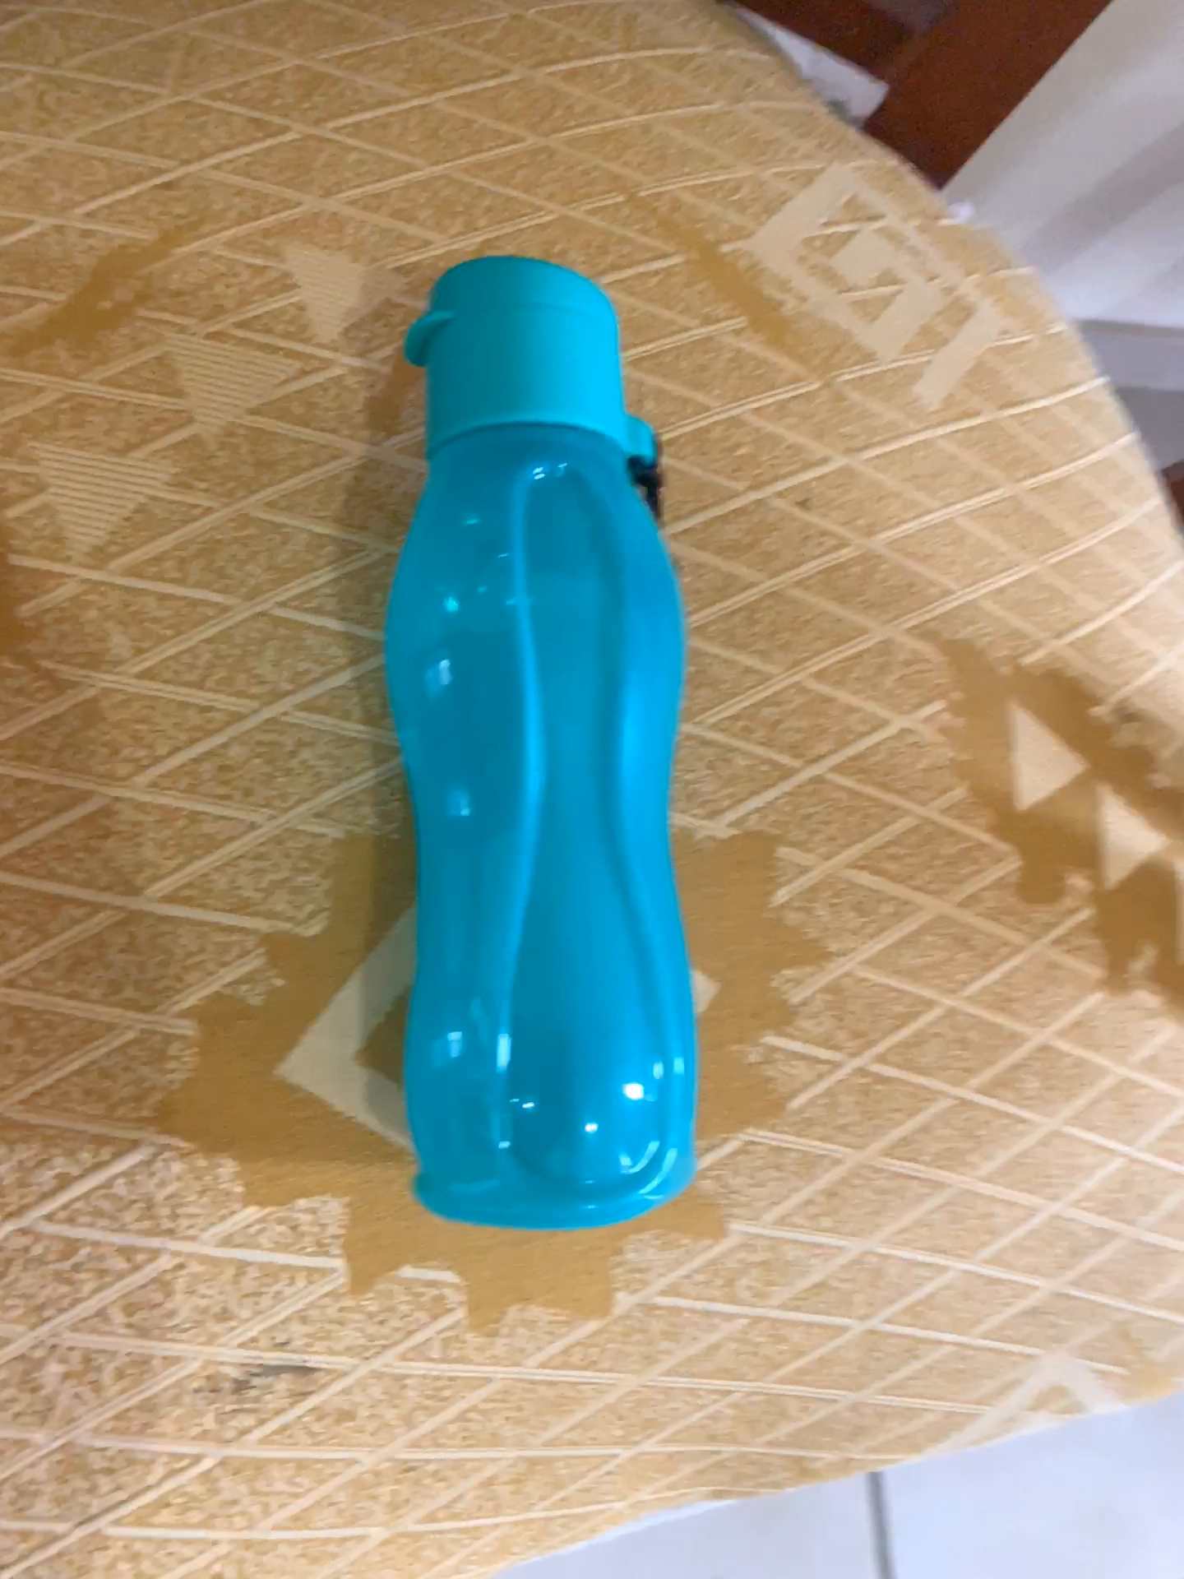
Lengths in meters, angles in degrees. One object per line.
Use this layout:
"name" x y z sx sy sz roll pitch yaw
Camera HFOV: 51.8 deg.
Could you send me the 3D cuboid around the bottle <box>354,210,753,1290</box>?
"bottle" -0.011 -0.009 0.257 0.070 0.050 0.200 1 83 -17
